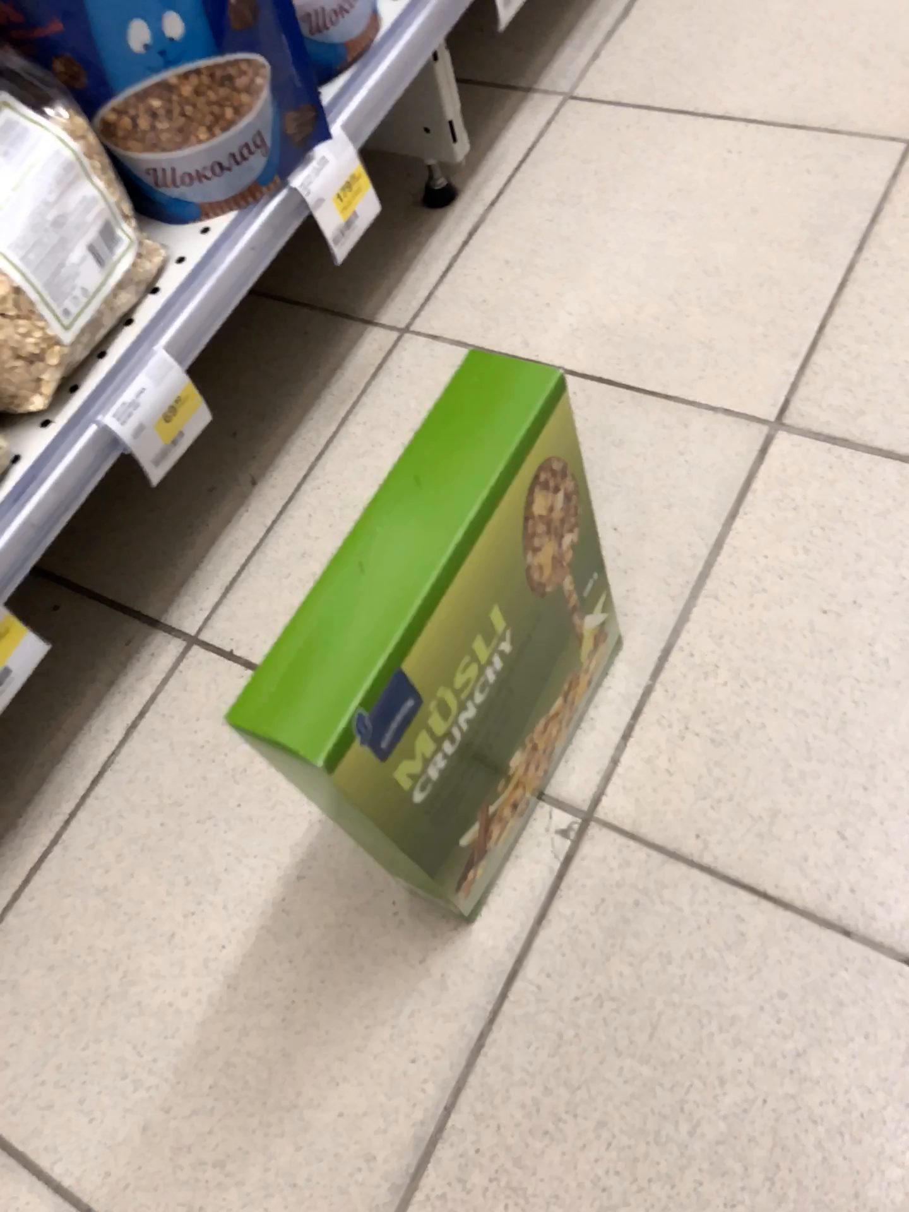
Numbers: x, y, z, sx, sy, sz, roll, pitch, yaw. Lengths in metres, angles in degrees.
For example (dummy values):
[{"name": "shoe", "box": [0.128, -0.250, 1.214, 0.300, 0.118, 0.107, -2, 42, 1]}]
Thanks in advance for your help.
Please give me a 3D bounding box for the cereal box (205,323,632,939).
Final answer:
[{"name": "cereal box", "box": [0.010, 0.030, 0.480, 0.050, 0.249, 0.200, 21, 67, 26]}]
